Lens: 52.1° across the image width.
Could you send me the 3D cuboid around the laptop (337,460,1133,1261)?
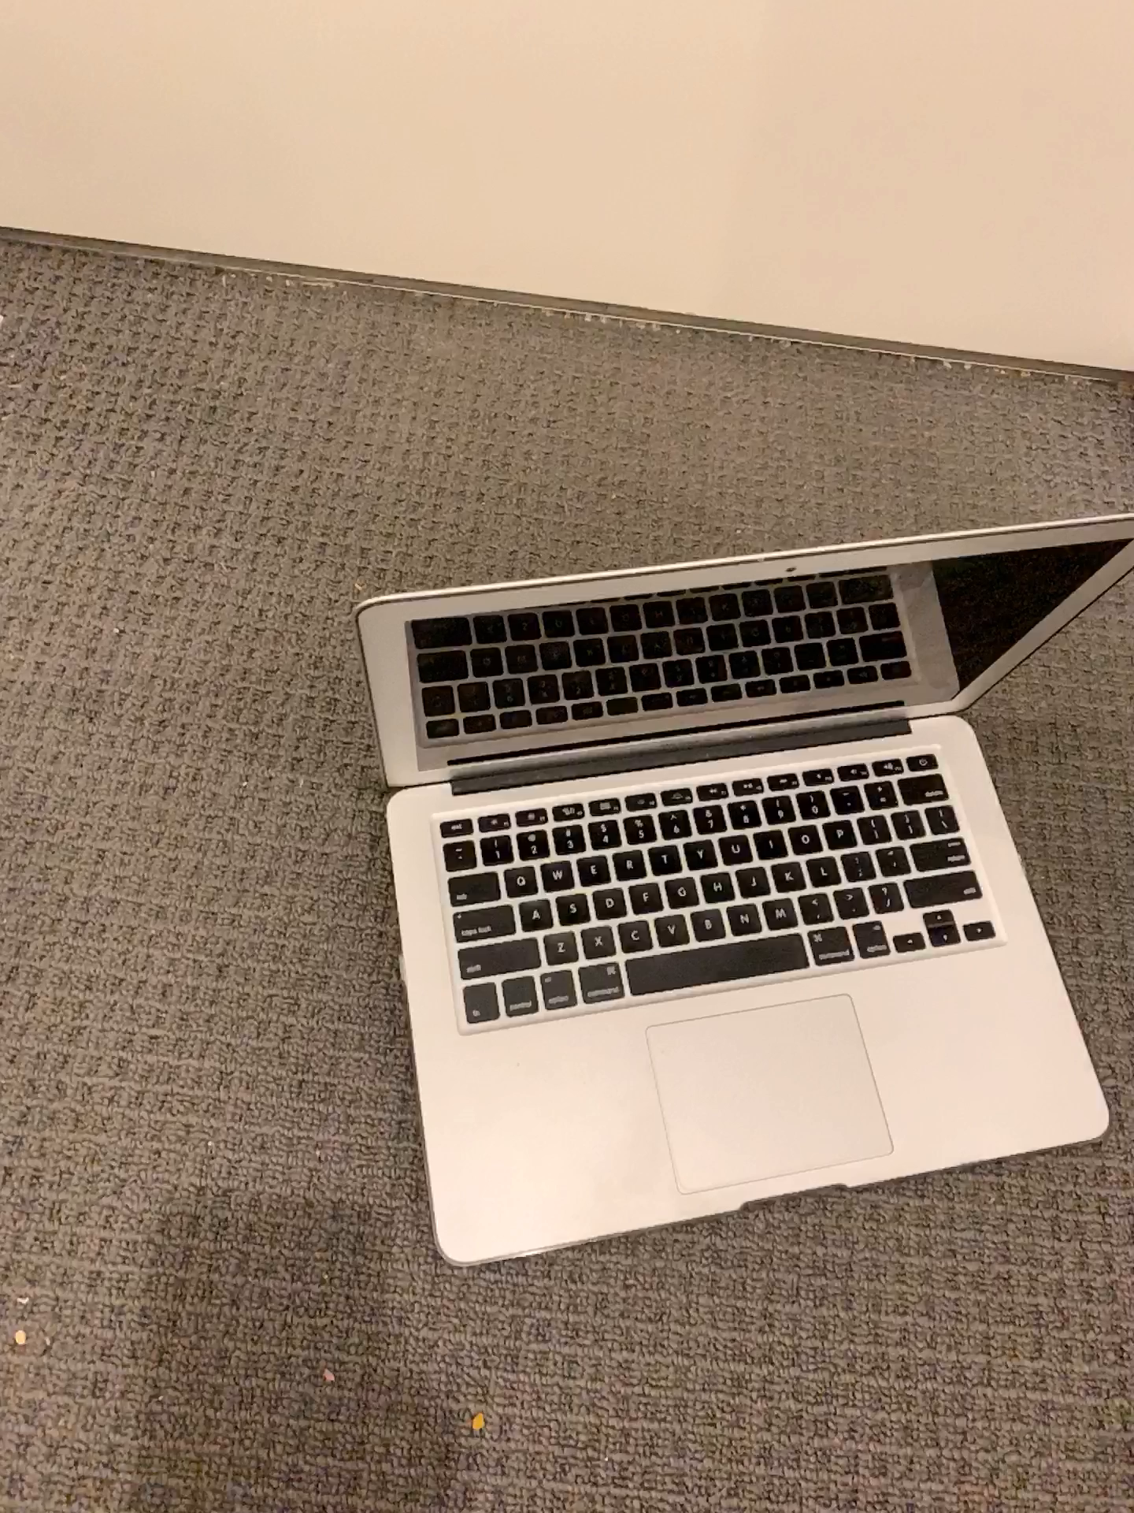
[{"bbox_3d":[0.090,0.053,0.484,0.322,0.215,0.227,-8,66,-8],"label":"laptop"}]
